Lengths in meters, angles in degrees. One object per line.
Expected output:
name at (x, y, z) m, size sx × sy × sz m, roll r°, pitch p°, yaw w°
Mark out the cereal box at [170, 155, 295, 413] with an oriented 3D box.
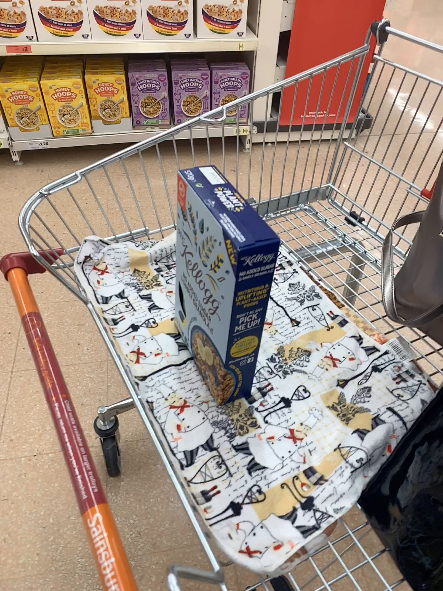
cereal box at (-0.005, -0.009, 0.533) m, size 0.050 × 0.248 × 0.171 m, roll -13°, pitch 46°, yaw -22°
